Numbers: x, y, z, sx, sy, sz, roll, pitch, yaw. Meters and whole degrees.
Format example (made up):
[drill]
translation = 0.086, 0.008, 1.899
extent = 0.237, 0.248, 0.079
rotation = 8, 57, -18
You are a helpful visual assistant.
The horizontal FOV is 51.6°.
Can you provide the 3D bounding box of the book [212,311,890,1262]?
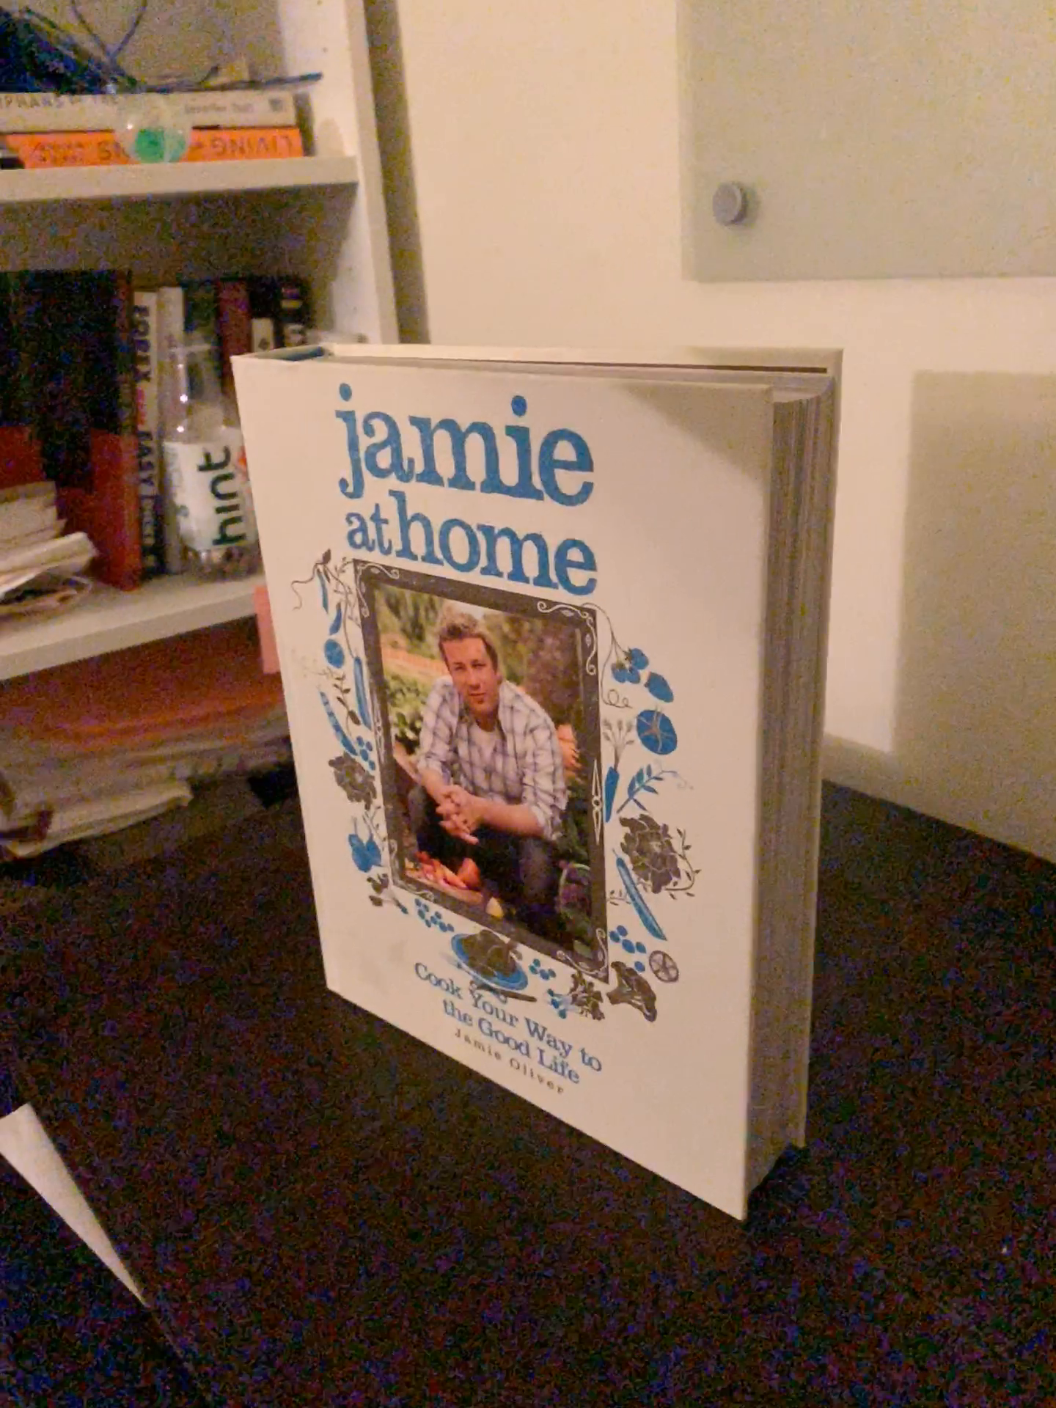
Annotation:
[book]
translation = 0.001, 0.015, 0.363
extent = 0.211, 0.269, 0.050
rotation = 16, 30, 39
